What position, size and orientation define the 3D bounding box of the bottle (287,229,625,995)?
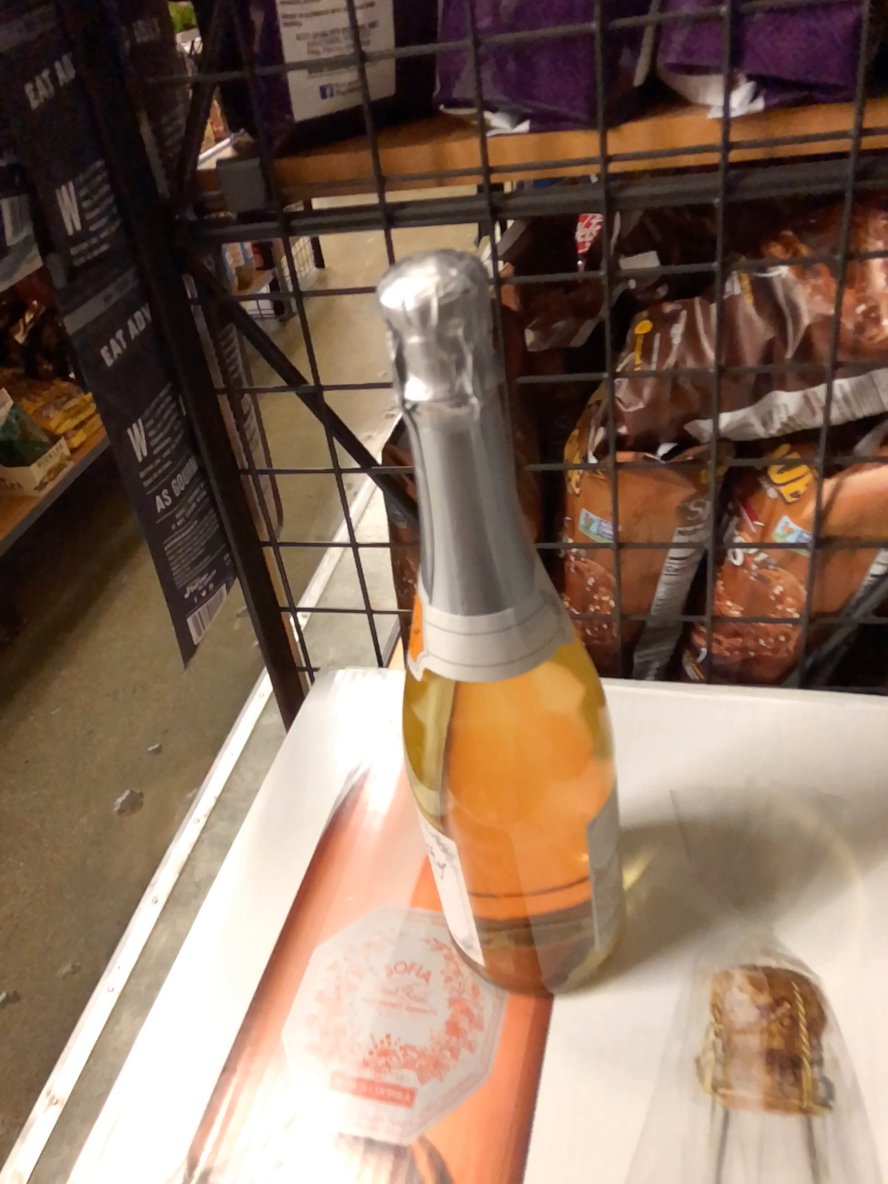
[{"bbox_3d":[0.021,0.033,0.389,0.086,0.318,0.078,-5,35,6],"label":"bottle"}]
